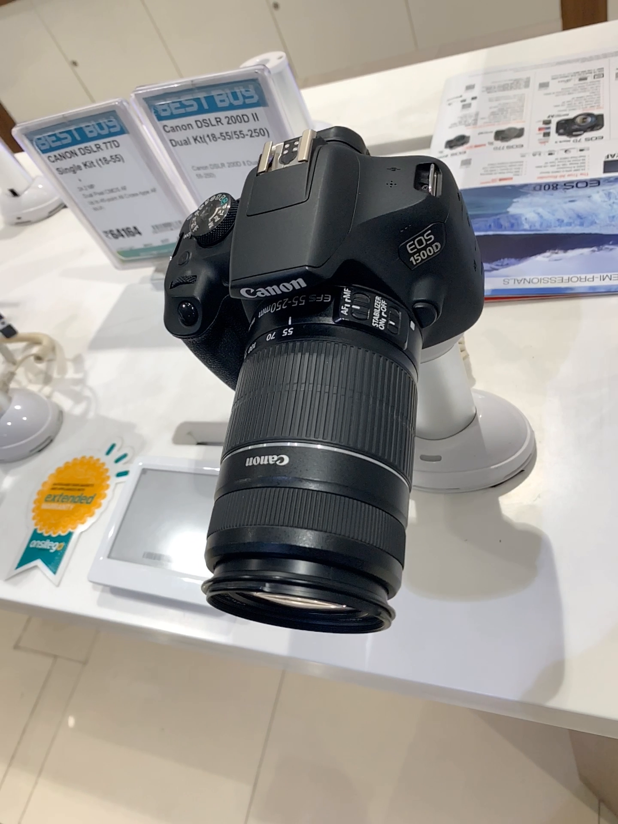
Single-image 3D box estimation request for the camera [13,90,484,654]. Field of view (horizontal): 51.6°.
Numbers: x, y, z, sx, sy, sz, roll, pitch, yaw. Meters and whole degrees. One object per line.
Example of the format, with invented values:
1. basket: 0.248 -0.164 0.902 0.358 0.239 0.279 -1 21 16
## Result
1. camera: -0.006 -0.008 0.233 0.117 0.090 0.164 -5 61 22
